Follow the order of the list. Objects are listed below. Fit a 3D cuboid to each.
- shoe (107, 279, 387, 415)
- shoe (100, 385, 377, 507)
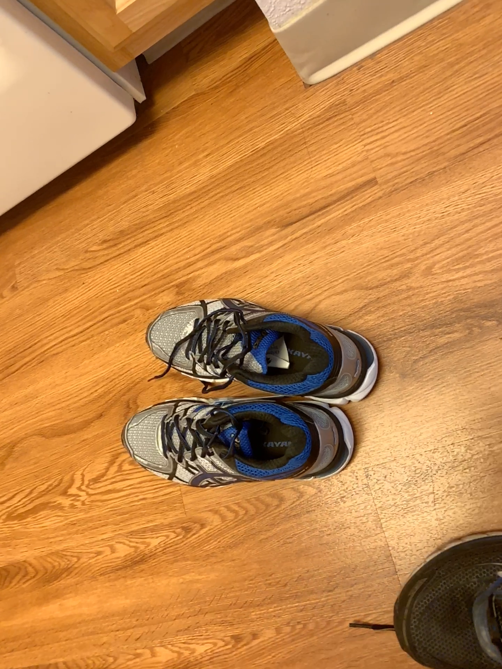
[{"bbox_3d":[-0.007,0.012,0.589,0.282,0.129,0.110,6,84,29],"label":"shoe"},{"bbox_3d":[-0.018,0.125,0.598,0.292,0.129,0.110,-6,78,28],"label":"shoe"}]
